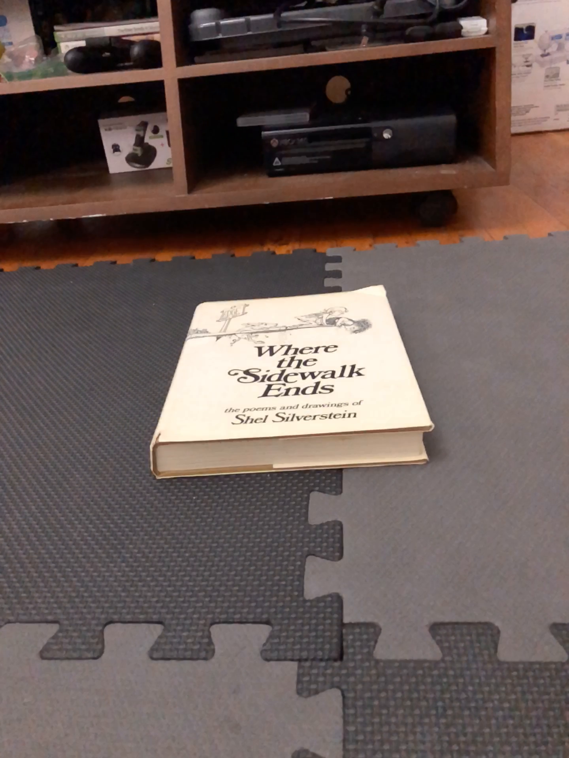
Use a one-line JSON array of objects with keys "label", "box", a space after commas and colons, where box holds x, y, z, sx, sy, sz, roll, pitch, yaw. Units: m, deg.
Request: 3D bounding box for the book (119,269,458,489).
[{"label": "book", "box": [0.006, -0.019, 0.499, 0.200, 0.030, 0.282, -4, 28, 4]}]
